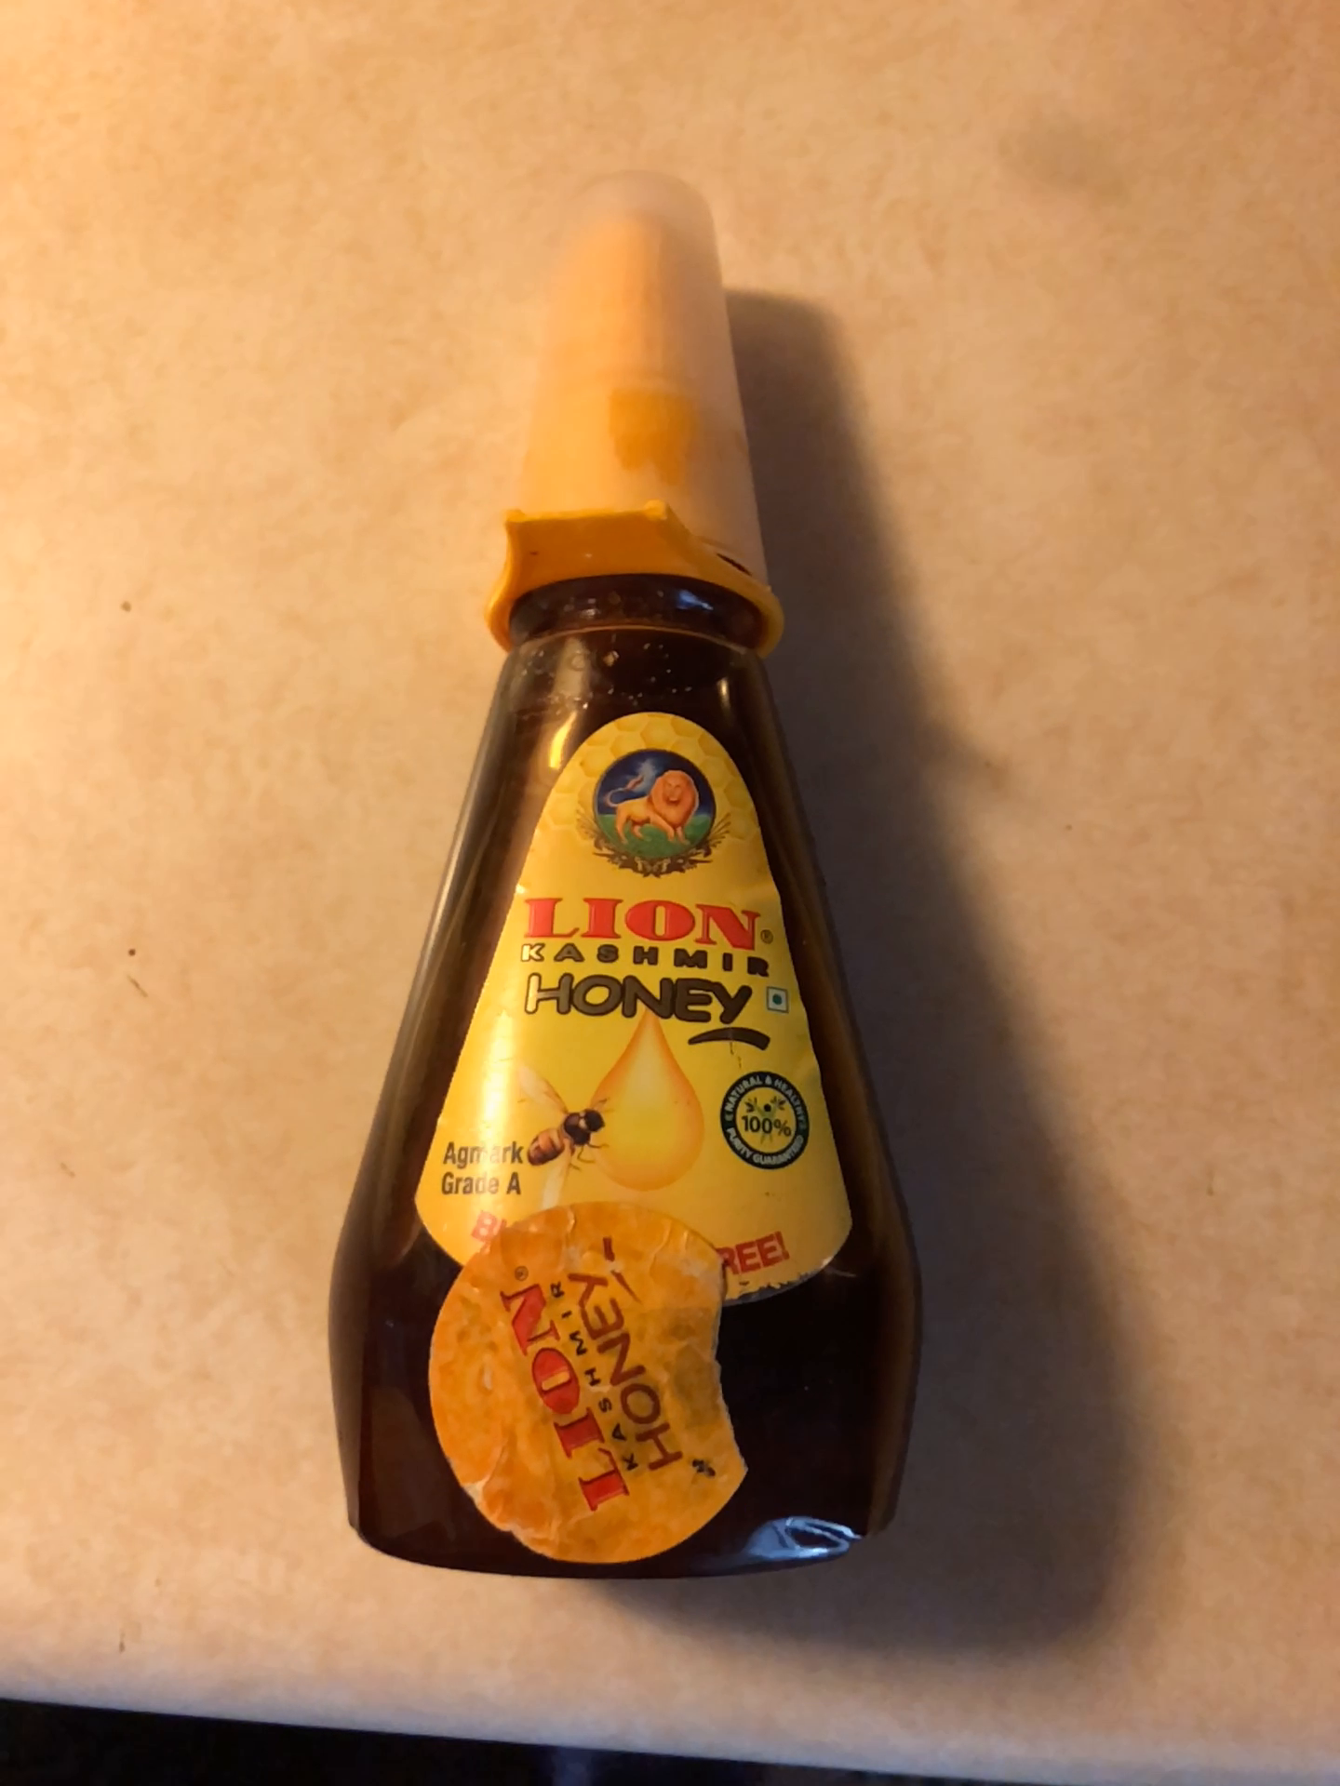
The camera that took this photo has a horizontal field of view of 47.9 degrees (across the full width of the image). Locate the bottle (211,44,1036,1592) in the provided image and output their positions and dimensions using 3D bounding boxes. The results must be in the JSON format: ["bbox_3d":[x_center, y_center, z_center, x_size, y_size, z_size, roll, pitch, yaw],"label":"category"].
[{"bbox_3d":[-0.005,-0.013,0.206,0.090,0.050,0.190,0,80,-1],"label":"bottle"}]
